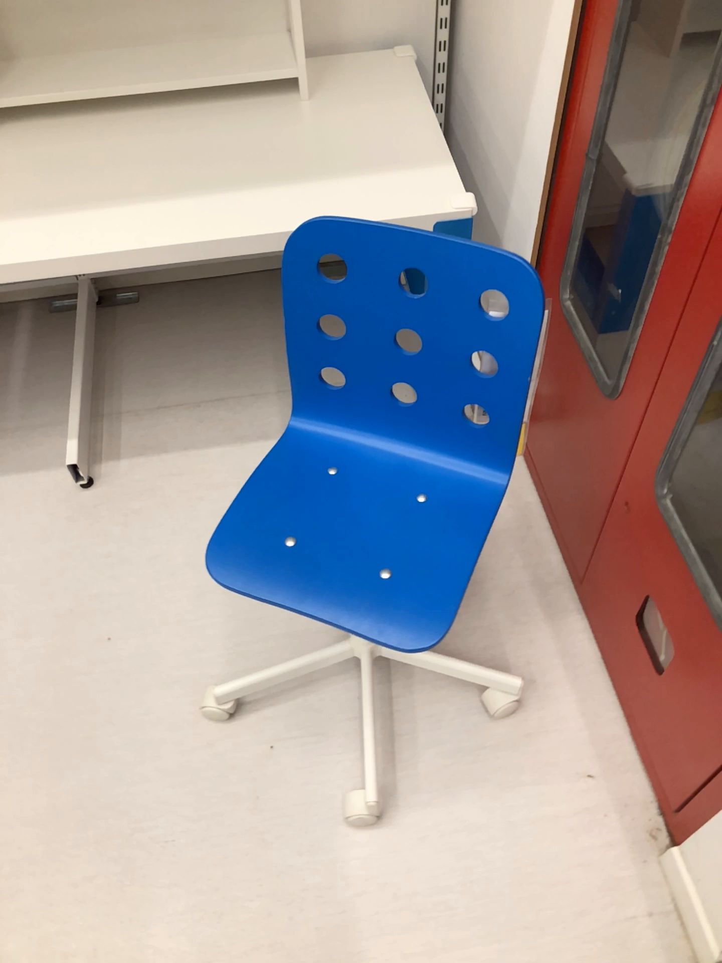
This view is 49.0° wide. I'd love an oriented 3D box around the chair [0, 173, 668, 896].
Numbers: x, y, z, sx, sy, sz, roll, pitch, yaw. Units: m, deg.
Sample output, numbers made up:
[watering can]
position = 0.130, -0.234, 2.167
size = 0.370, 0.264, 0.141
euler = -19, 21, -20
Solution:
[chair]
position = -0.019, 0.098, 1.009
size = 0.551, 0.686, 0.492
euler = 16, 55, 14
